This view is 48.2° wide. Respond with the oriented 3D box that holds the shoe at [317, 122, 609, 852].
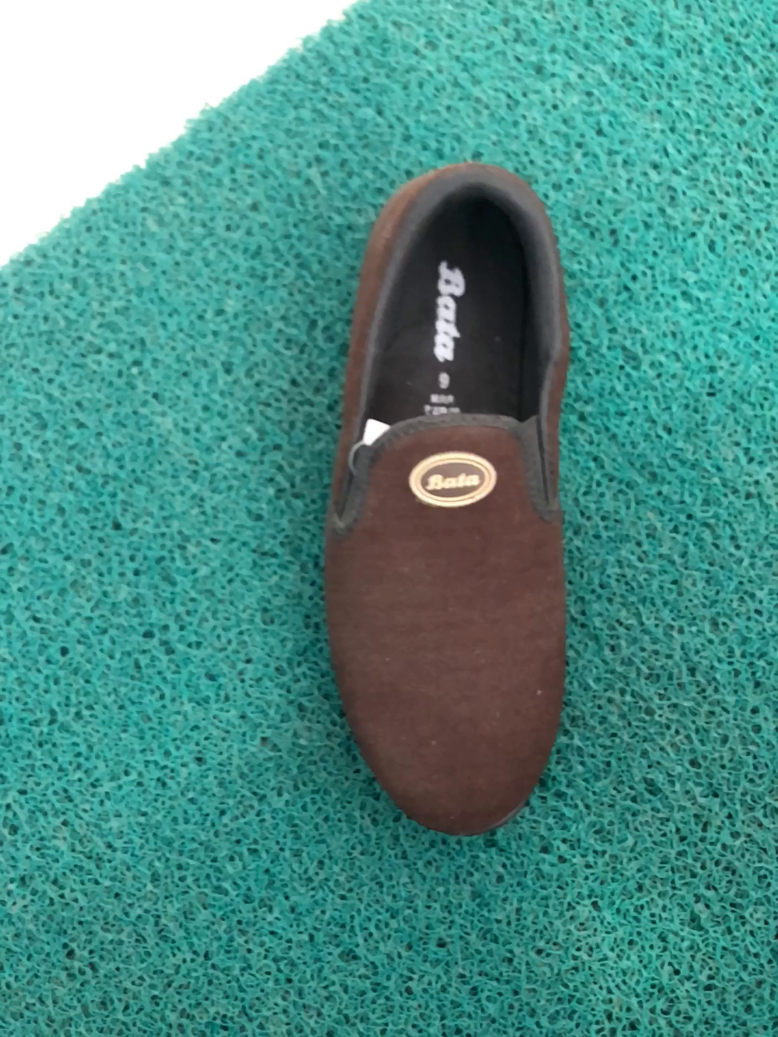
[{"bbox_3d":[0.029,-0.011,0.361,0.100,0.100,0.260,0,85,5],"label":"shoe"}]
